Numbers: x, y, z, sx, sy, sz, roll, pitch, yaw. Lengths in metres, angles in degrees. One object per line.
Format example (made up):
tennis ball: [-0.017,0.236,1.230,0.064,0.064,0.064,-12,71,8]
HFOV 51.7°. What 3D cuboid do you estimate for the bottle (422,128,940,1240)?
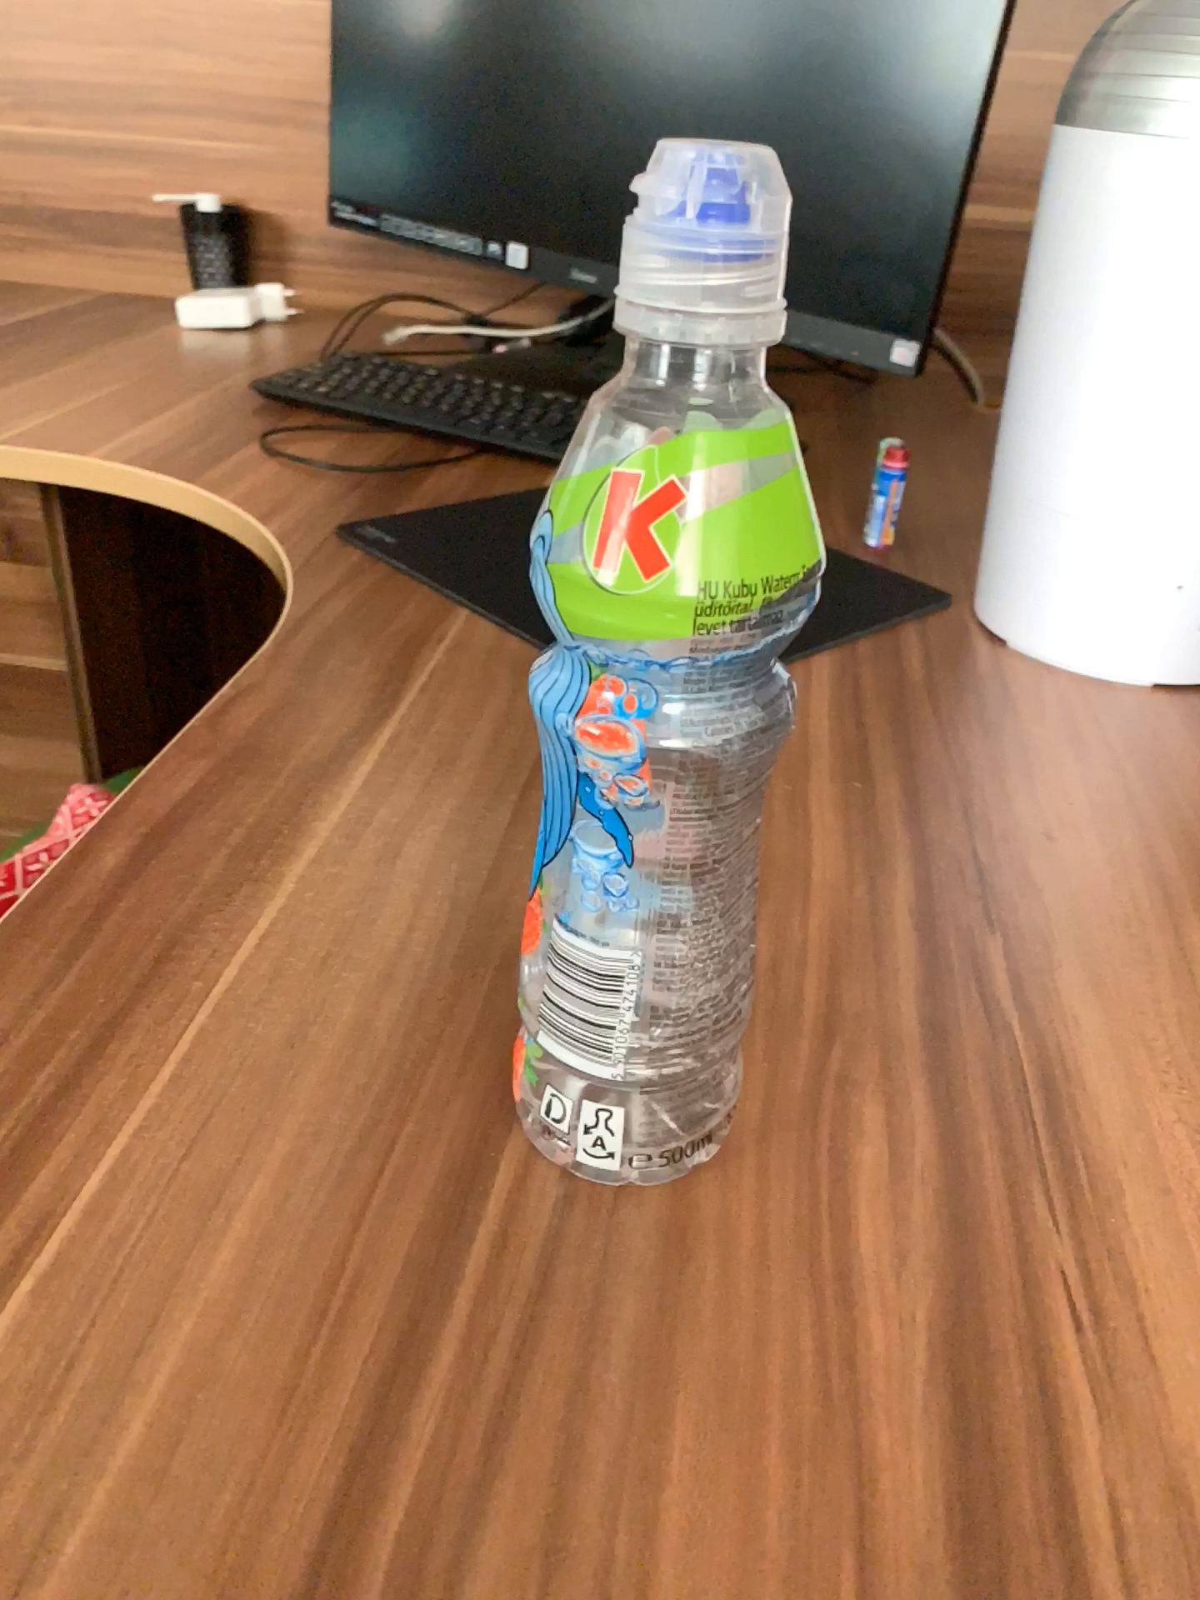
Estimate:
bottle: [0.009,-0.019,0.290,0.070,0.239,0.070,3,30,-2]
